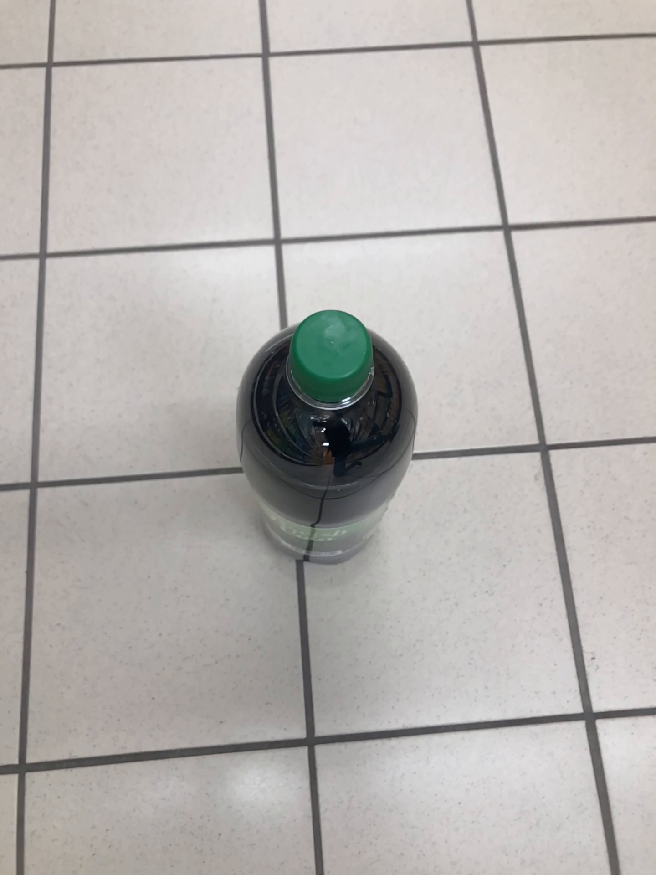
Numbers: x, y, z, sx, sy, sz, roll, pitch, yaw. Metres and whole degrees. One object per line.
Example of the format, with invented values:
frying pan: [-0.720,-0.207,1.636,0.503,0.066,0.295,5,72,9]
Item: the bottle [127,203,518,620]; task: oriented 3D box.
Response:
bottle: [-0.004,0.020,0.405,0.100,0.299,0.100,0,73,-1]
